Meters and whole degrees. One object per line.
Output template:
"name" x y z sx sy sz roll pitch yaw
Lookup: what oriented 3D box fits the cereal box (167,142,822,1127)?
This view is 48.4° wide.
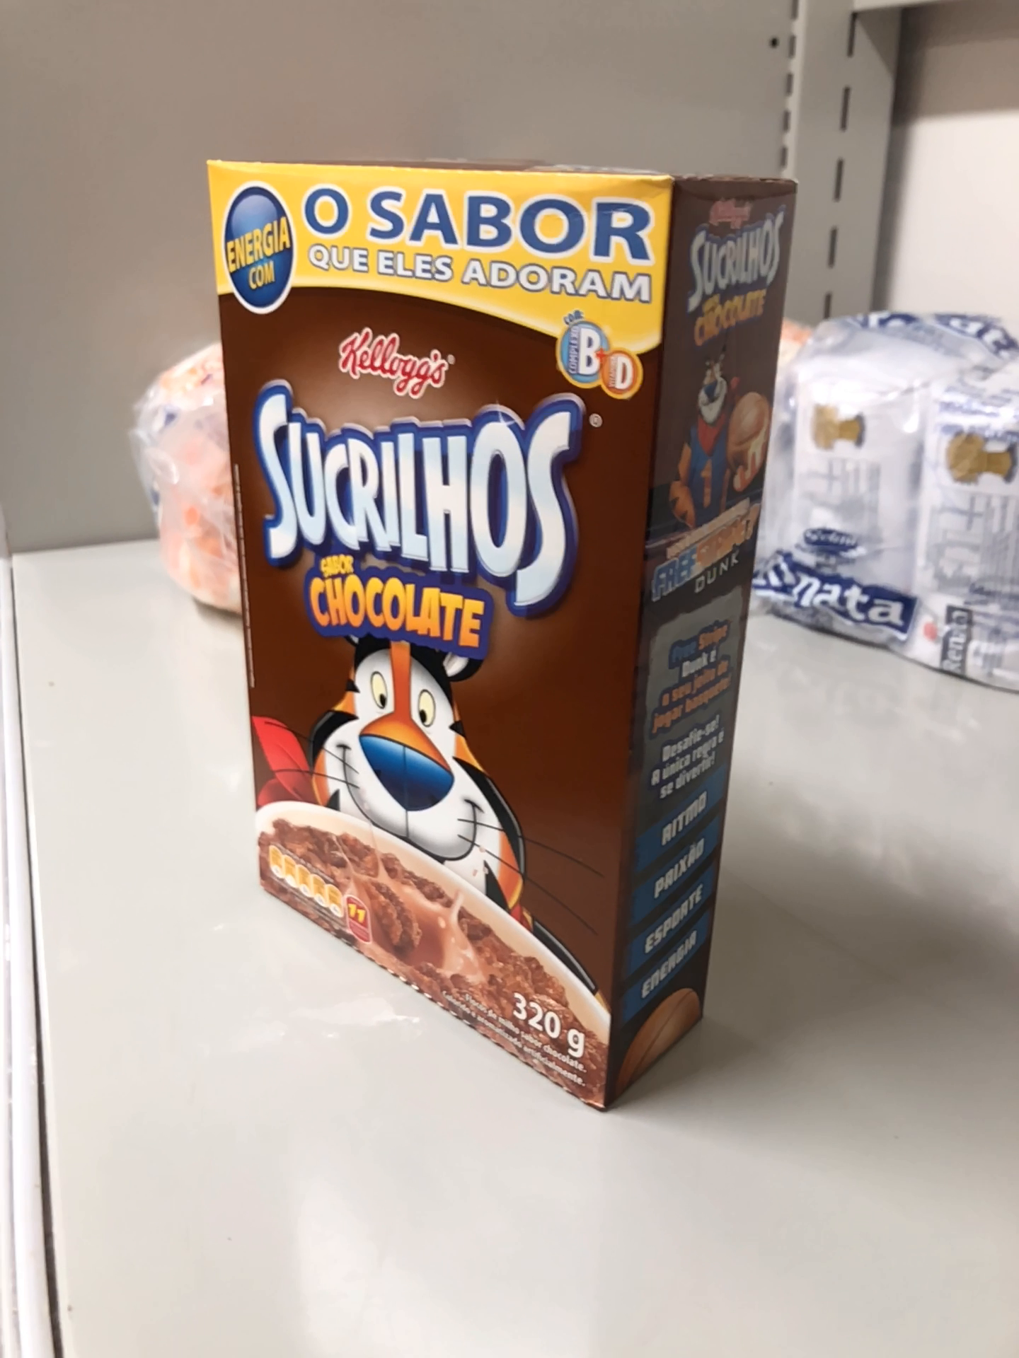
"cereal box" -0.015 -0.024 0.366 0.181 0.268 0.070 21 30 37
